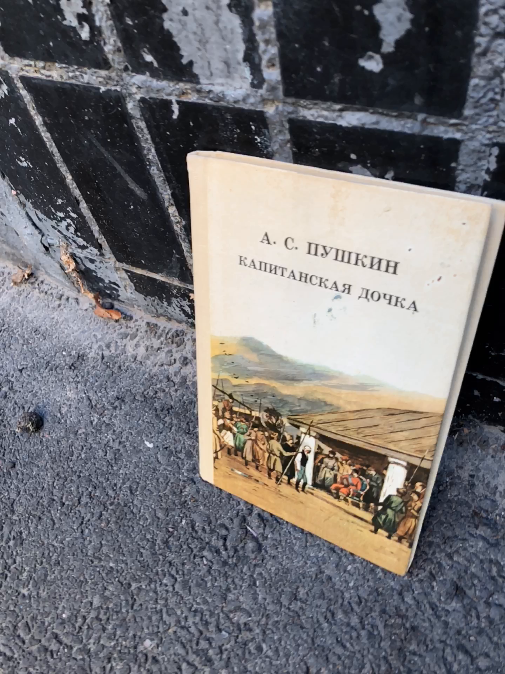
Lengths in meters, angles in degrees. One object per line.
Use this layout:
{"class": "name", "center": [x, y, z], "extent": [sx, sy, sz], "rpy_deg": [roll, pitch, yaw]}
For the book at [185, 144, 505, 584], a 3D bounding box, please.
{"class": "book", "center": [0.036, 0.022, 0.294], "extent": [0.150, 0.214, 0.020], "rpy_deg": [19, 36, 25]}
